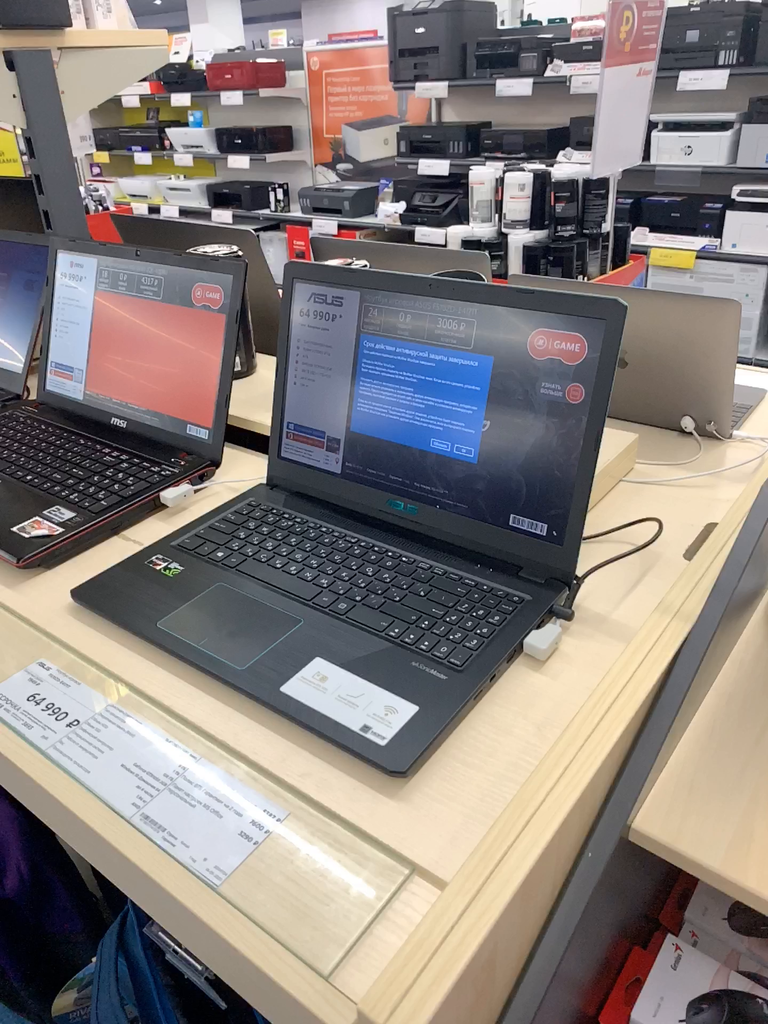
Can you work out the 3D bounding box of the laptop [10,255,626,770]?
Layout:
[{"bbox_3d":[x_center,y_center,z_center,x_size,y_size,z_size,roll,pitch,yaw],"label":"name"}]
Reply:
[{"bbox_3d":[-0.042,-0.051,0.654,0.359,0.222,0.319,17,36,33],"label":"laptop"}]
